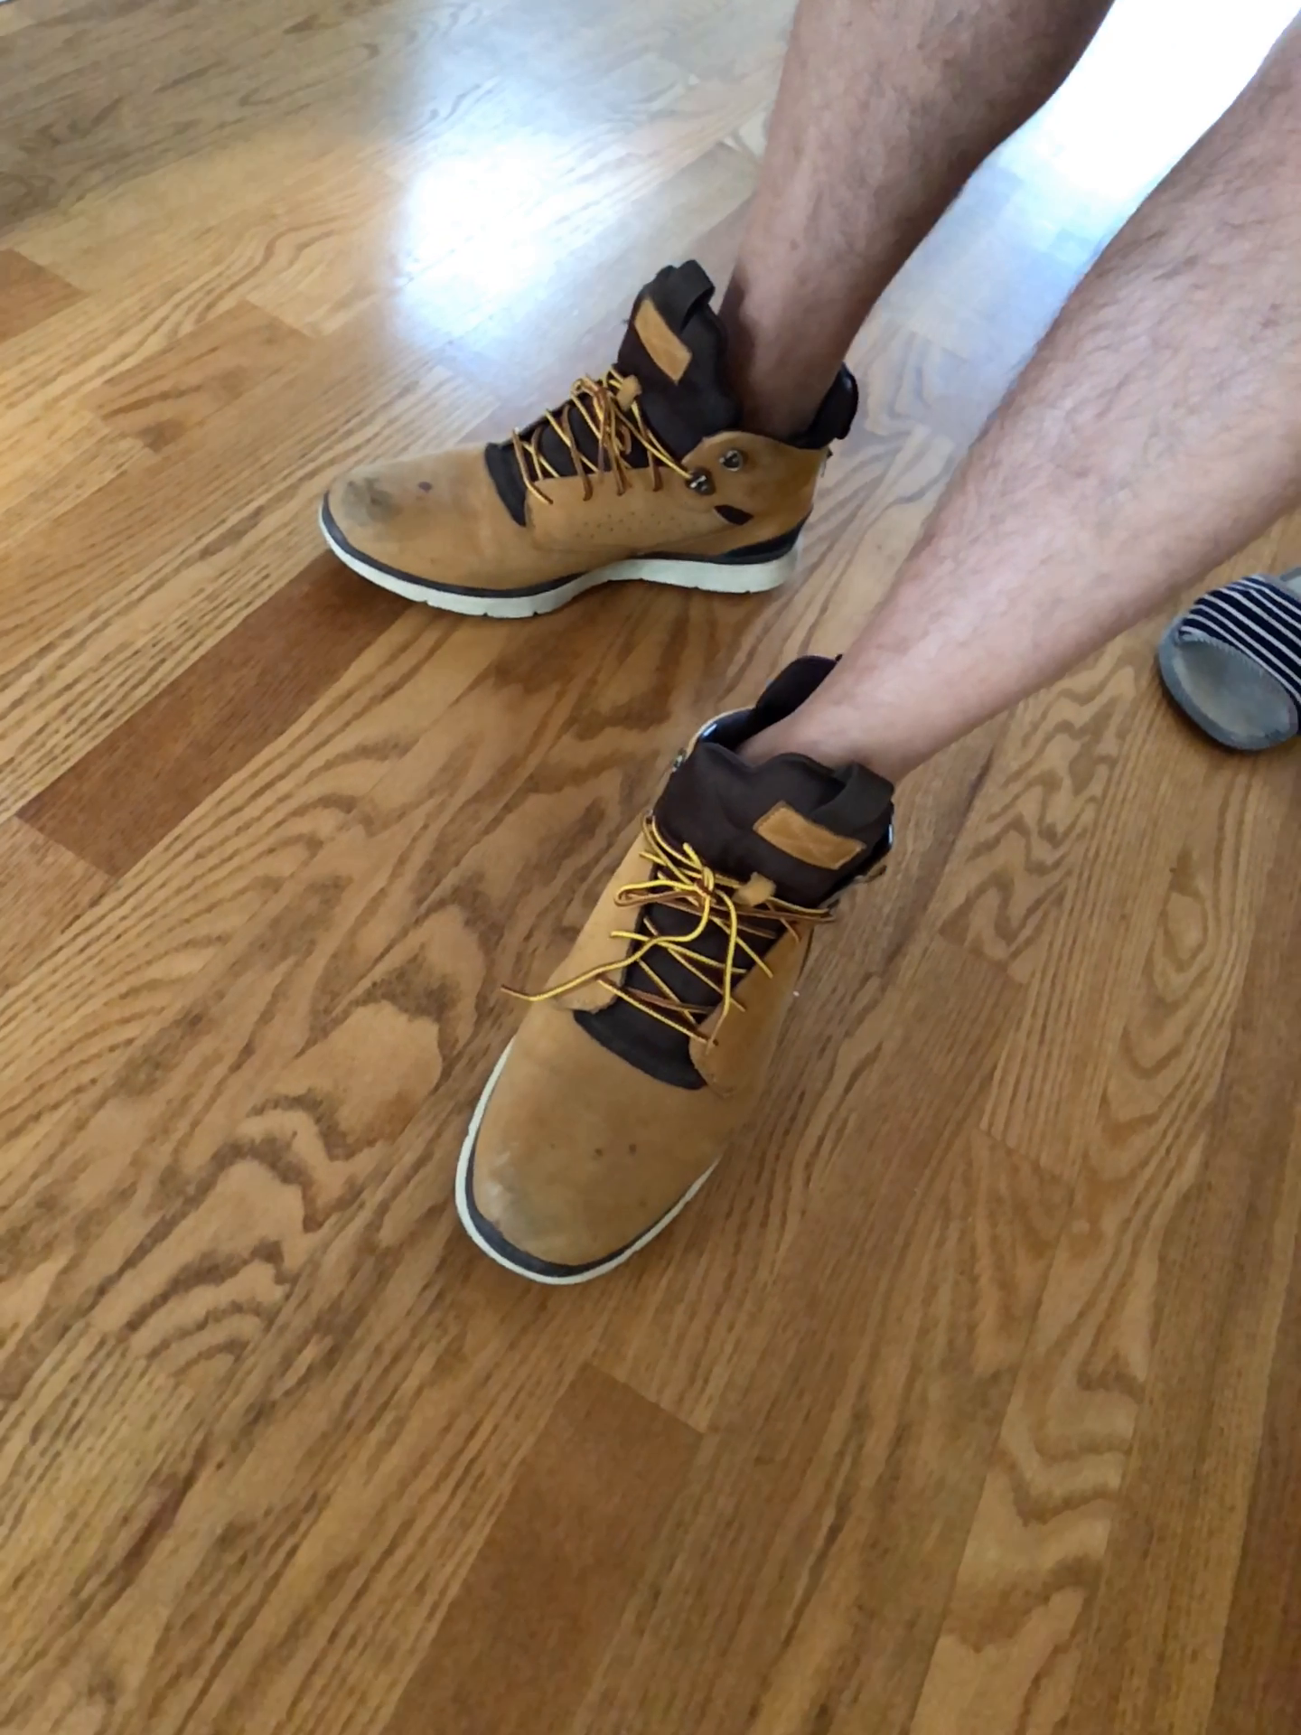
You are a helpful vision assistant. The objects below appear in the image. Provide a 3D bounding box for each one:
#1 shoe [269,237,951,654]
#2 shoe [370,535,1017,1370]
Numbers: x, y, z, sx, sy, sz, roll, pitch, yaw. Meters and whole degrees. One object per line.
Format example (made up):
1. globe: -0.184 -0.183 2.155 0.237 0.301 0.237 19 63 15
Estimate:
1. shoe: -0.025 -0.221 0.755 0.311 0.149 0.120 -9 59 -27
2. shoe: 0.026 0.022 0.571 0.120 0.139 0.291 30 50 2
